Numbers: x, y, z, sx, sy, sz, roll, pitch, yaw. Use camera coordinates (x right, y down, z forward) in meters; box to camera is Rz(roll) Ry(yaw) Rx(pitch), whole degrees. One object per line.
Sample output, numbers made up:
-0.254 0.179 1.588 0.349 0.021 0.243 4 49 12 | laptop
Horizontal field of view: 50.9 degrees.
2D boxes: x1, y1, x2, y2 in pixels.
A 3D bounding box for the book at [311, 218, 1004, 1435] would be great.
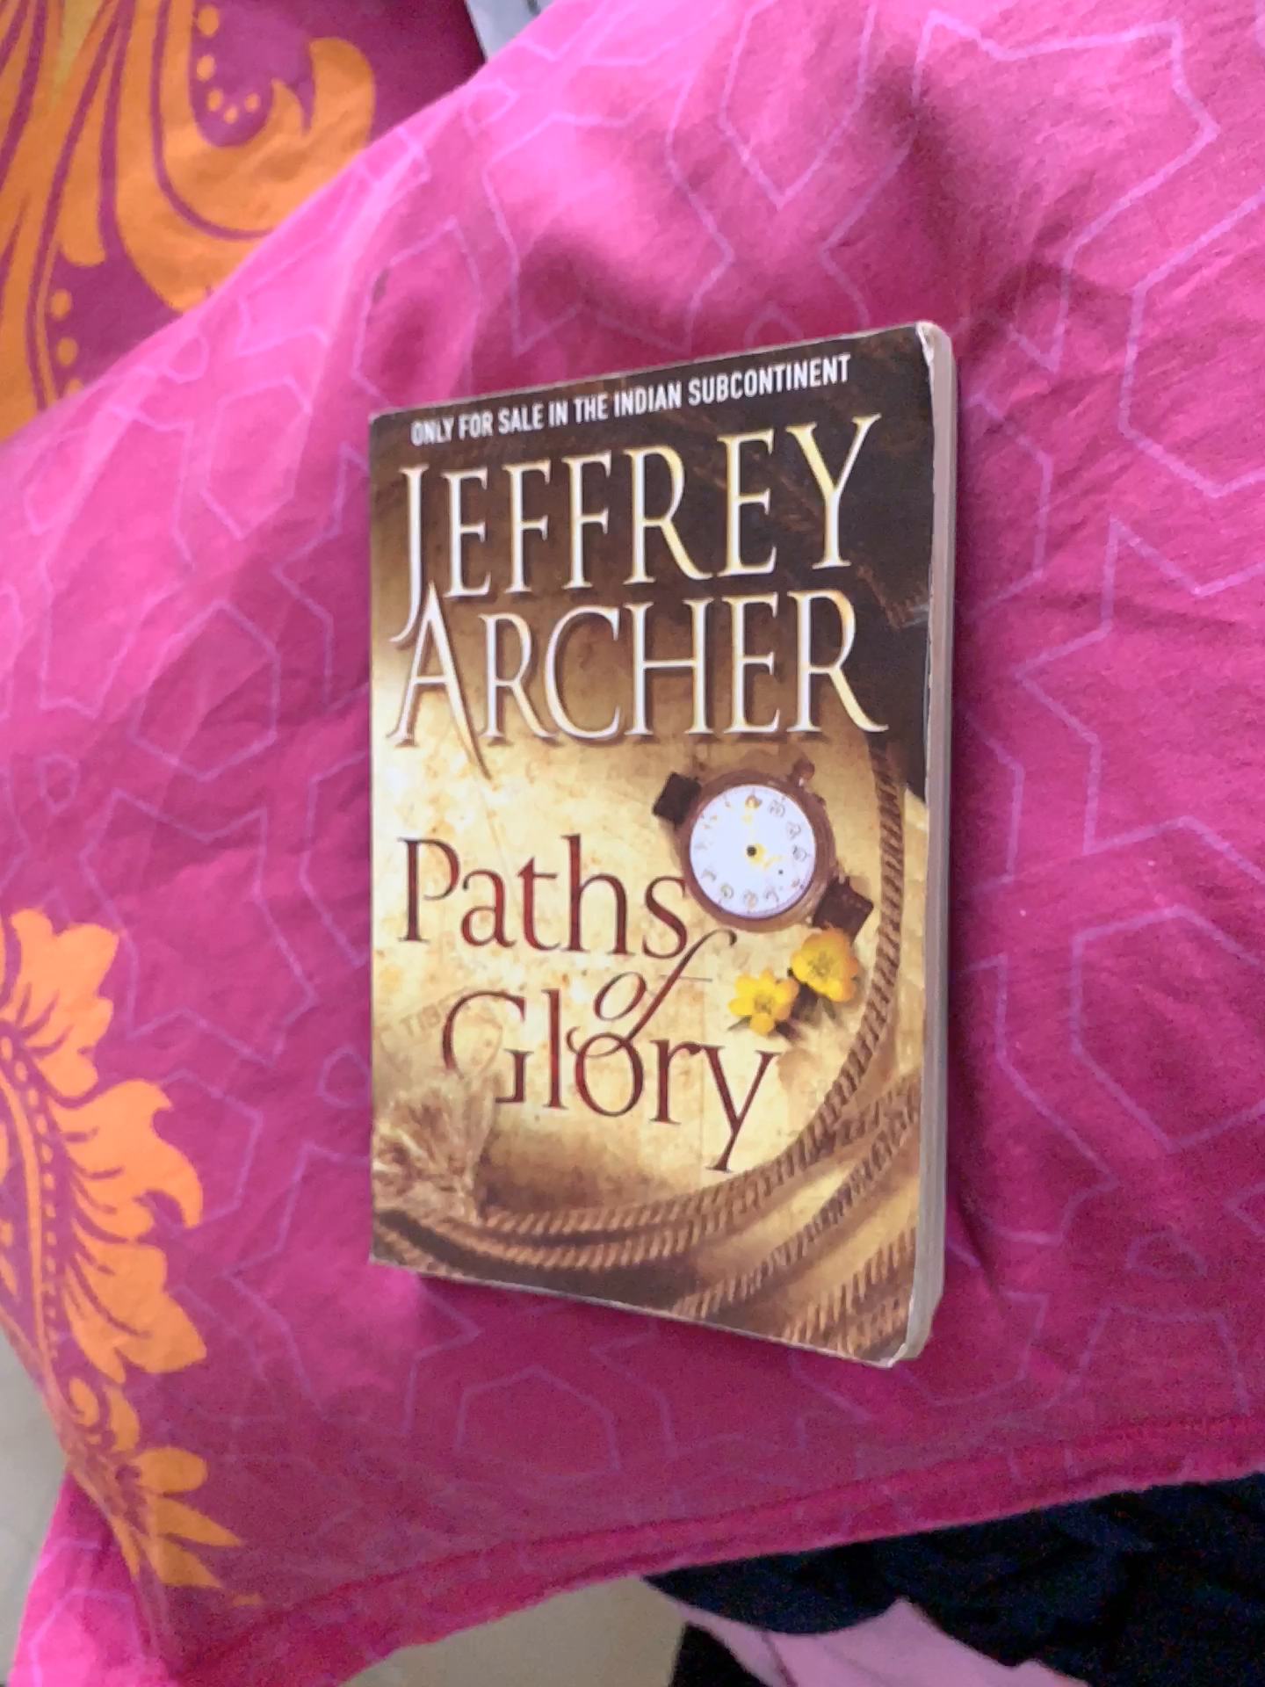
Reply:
0.000 -0.003 0.244 0.120 0.040 0.180 3 94 30 | book
